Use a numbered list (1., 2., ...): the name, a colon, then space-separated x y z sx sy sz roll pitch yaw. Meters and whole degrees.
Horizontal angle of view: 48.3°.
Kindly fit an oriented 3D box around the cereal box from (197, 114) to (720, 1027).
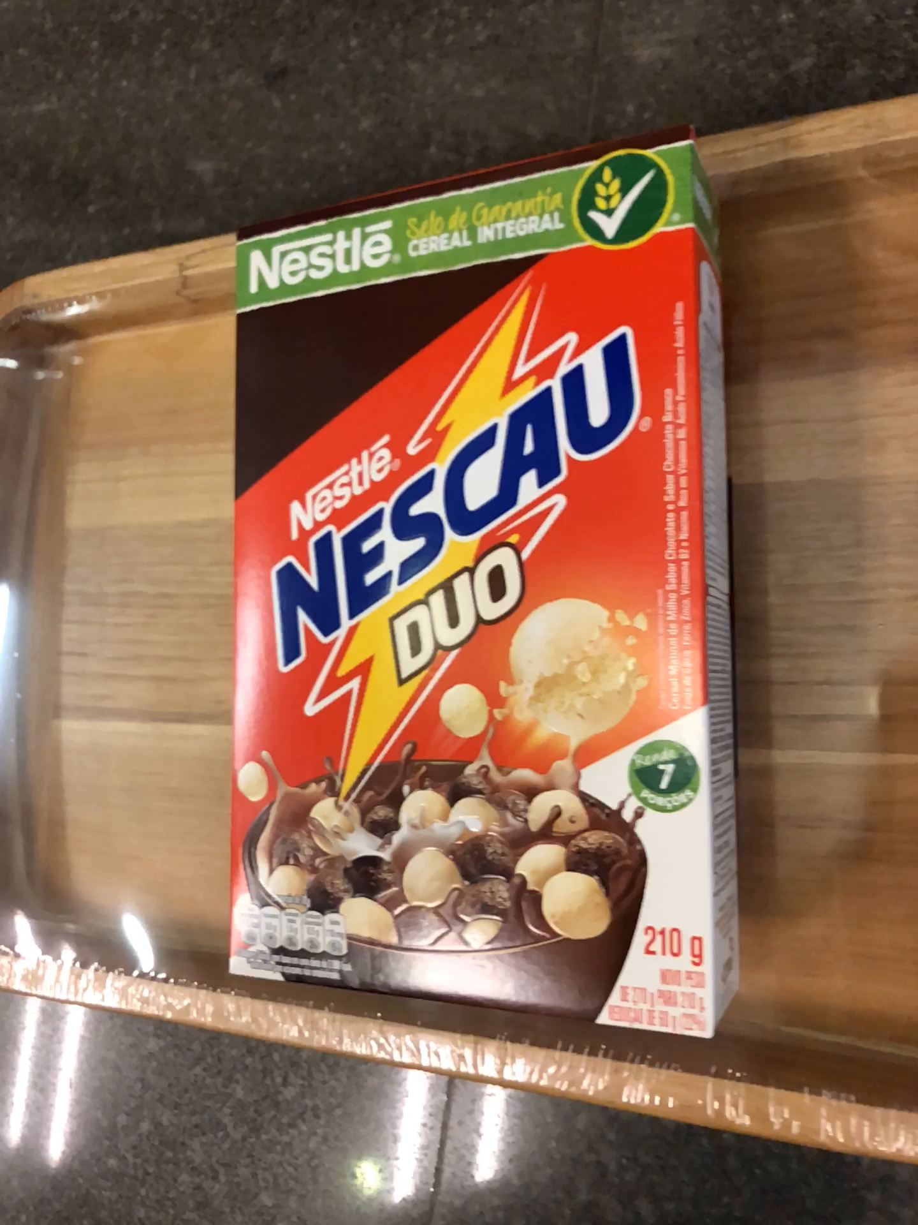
1. cereal box: -0.003 -0.011 0.335 0.160 0.050 0.250 -2 85 25
